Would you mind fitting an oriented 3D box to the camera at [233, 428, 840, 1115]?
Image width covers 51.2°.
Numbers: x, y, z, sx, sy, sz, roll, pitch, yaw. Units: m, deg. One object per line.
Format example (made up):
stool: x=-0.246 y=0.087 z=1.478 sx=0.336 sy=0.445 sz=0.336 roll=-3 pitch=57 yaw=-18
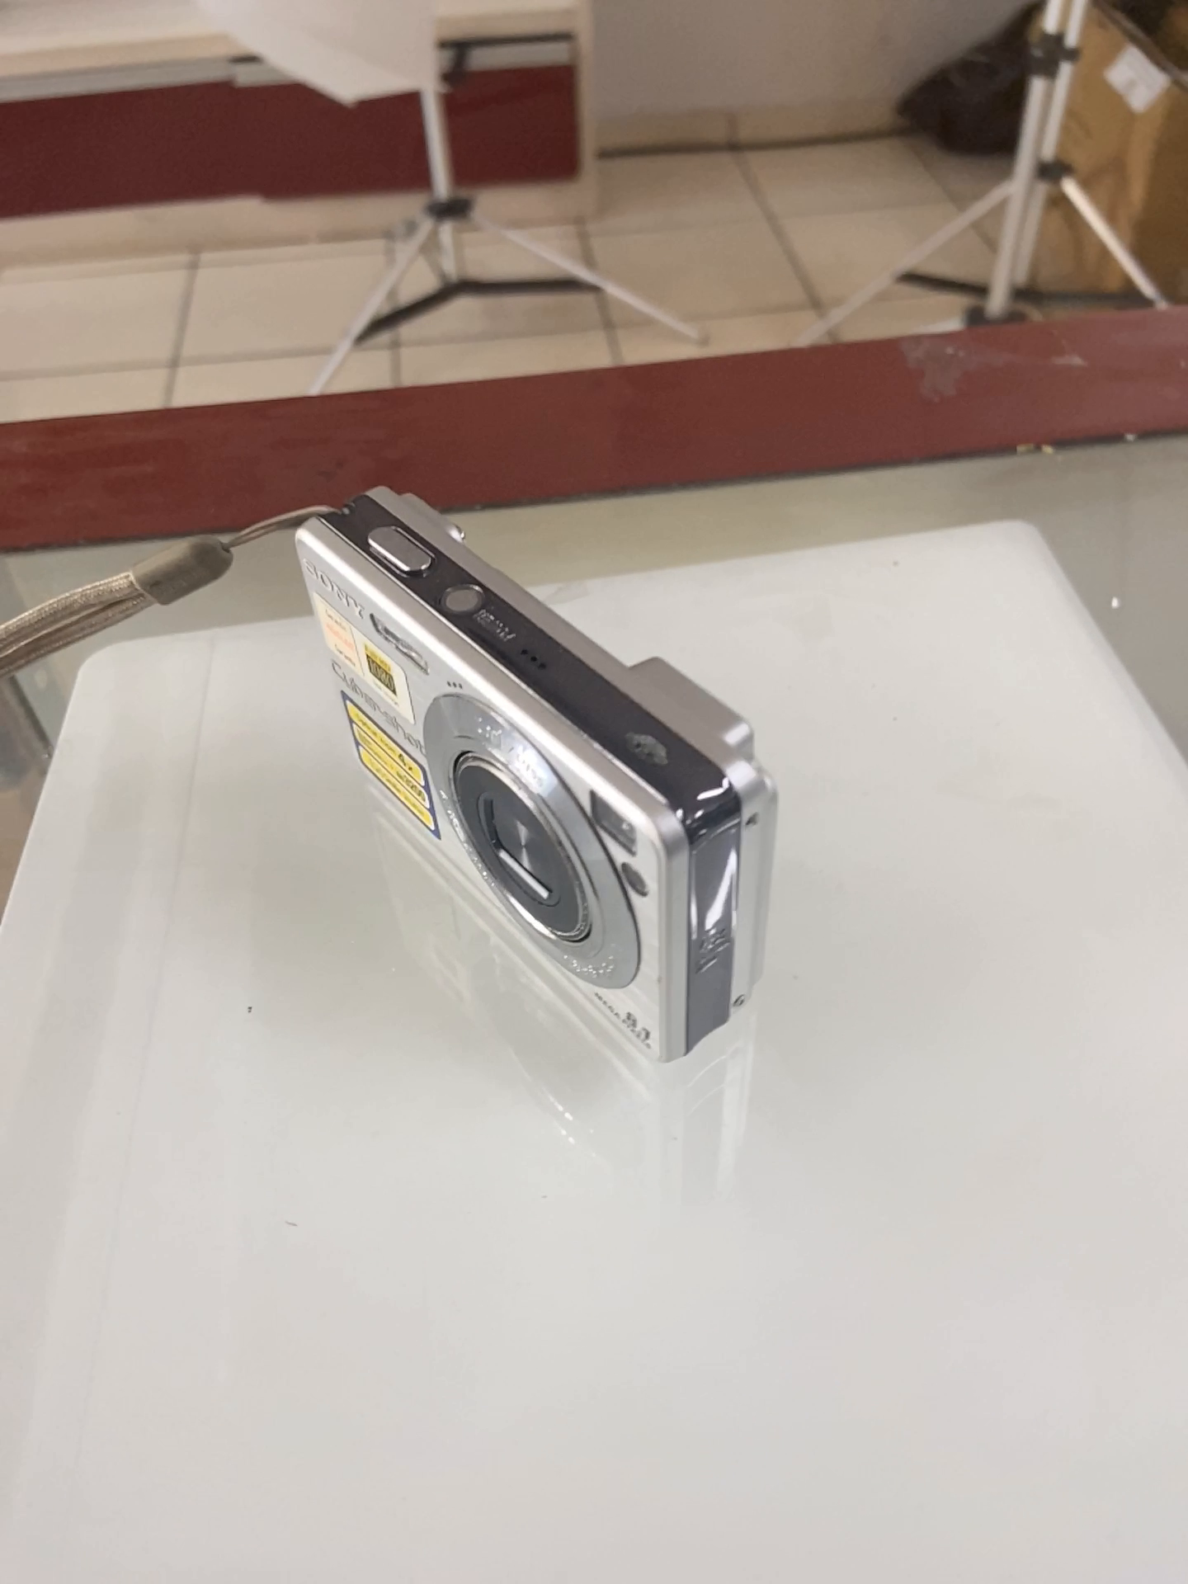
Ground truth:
camera: x=-0.011 y=-0.005 z=0.187 sx=0.030 sy=0.060 sz=0.090 roll=-34 pitch=54 yaw=-26
